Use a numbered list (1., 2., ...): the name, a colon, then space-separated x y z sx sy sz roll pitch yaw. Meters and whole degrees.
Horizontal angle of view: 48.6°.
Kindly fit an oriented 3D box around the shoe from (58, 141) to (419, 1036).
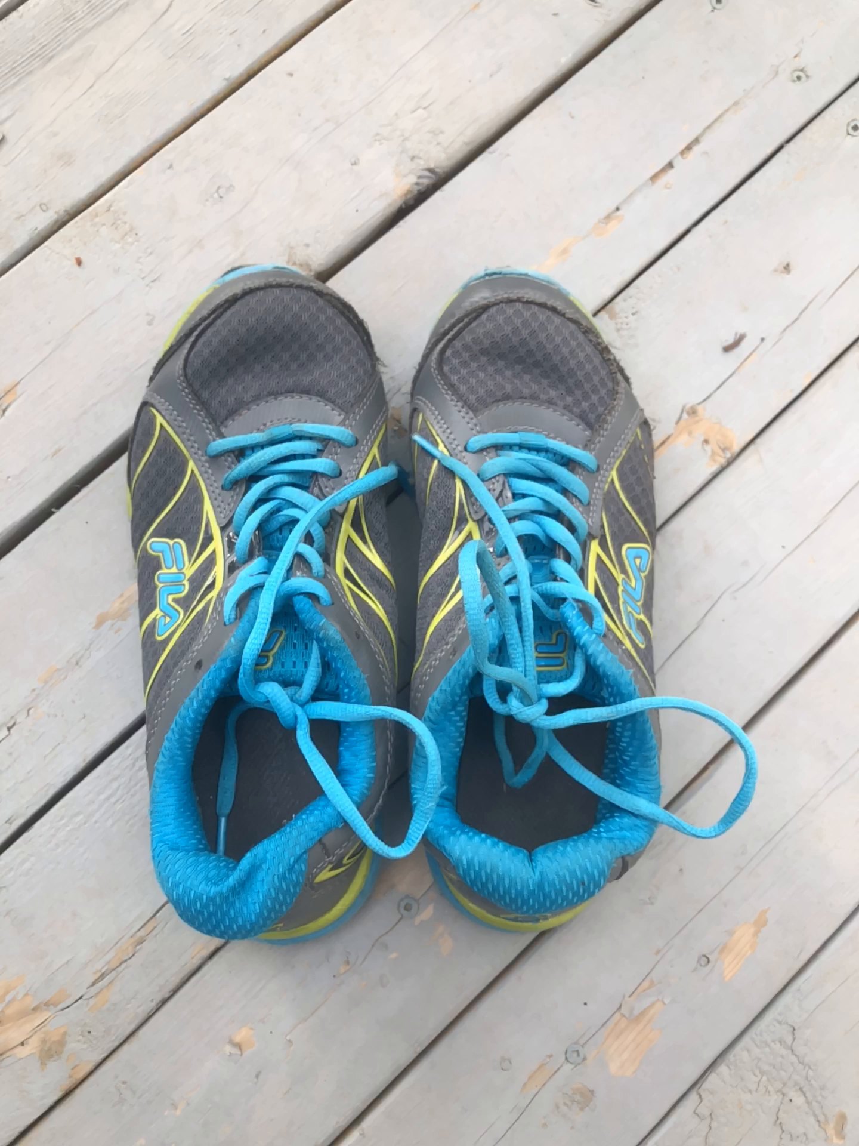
1. shoe: -0.066 0.004 0.377 0.110 0.130 0.290 -3 84 -1

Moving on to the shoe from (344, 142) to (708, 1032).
1. shoe: 0.033 0.002 0.347 0.110 0.090 0.280 2 84 0
